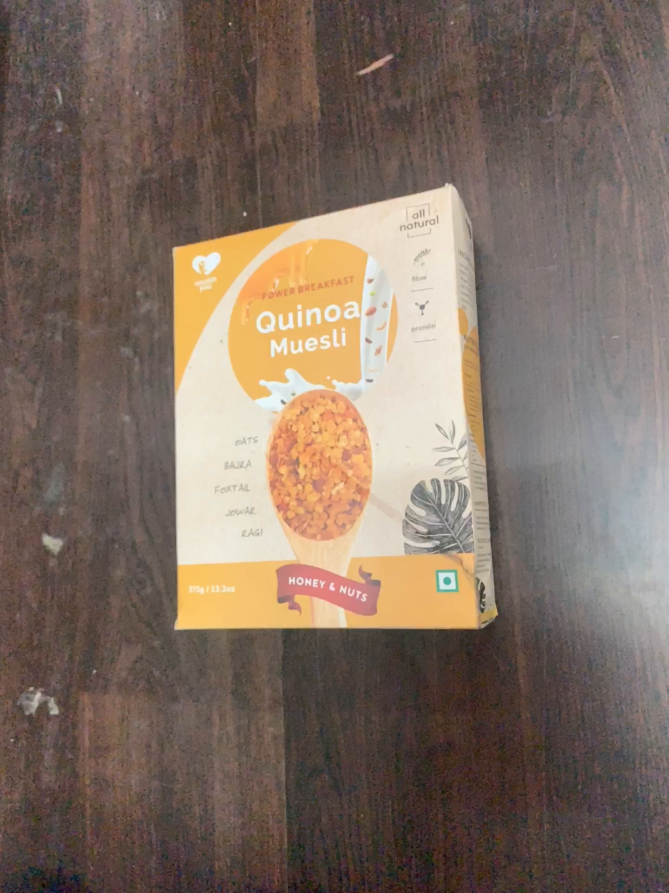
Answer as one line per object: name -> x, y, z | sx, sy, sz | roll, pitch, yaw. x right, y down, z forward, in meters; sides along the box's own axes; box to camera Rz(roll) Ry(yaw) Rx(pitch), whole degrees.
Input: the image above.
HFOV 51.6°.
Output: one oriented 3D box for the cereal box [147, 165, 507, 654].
cereal box -> -0.008, -0.011, 0.367 | 0.170, 0.060, 0.220 | -5, 84, 22
